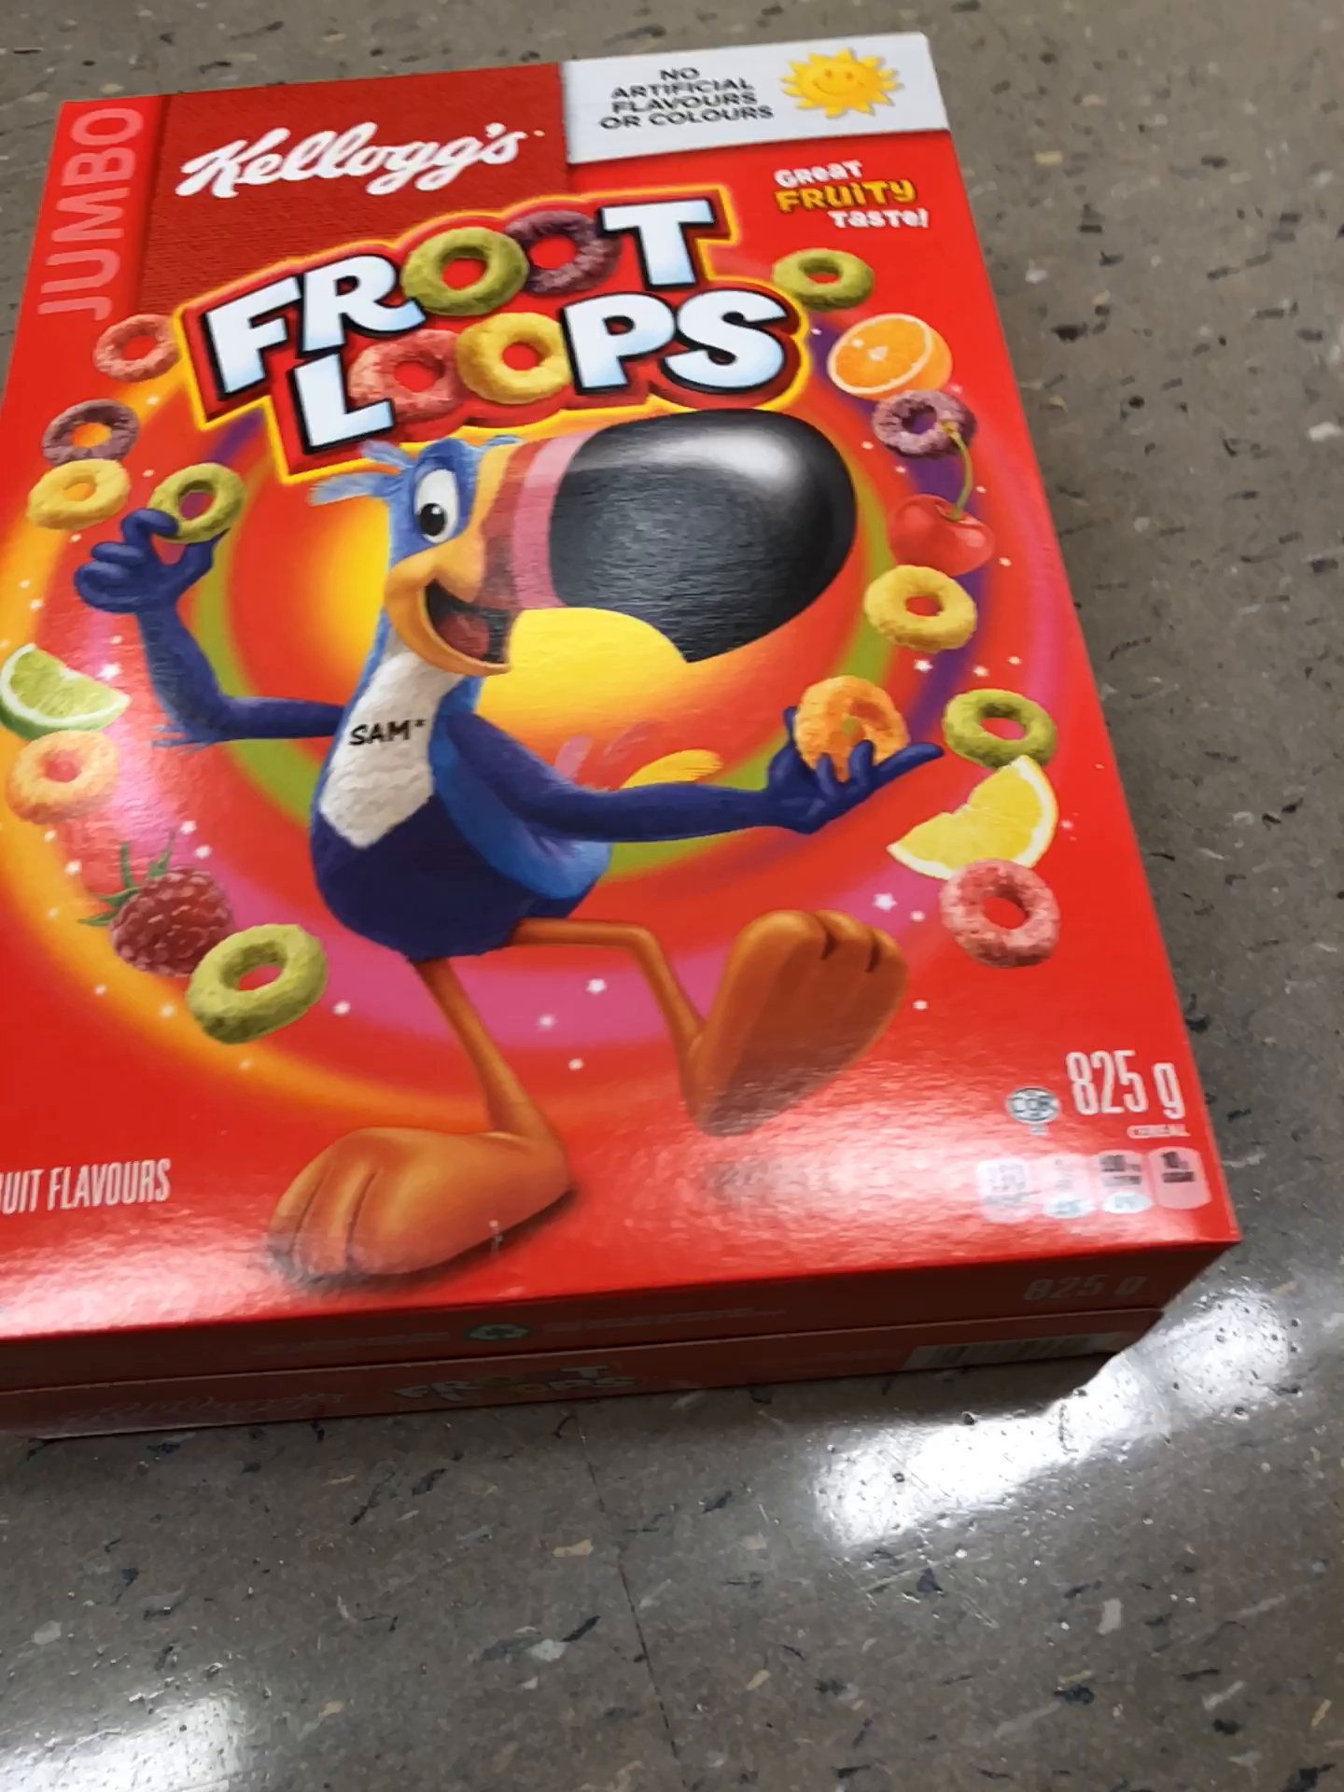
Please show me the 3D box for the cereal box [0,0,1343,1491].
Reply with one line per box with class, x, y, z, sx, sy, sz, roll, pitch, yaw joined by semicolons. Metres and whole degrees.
cereal box;-0.045;-0.072;0.344;0.270;0.080;0.360;-5;59;0
